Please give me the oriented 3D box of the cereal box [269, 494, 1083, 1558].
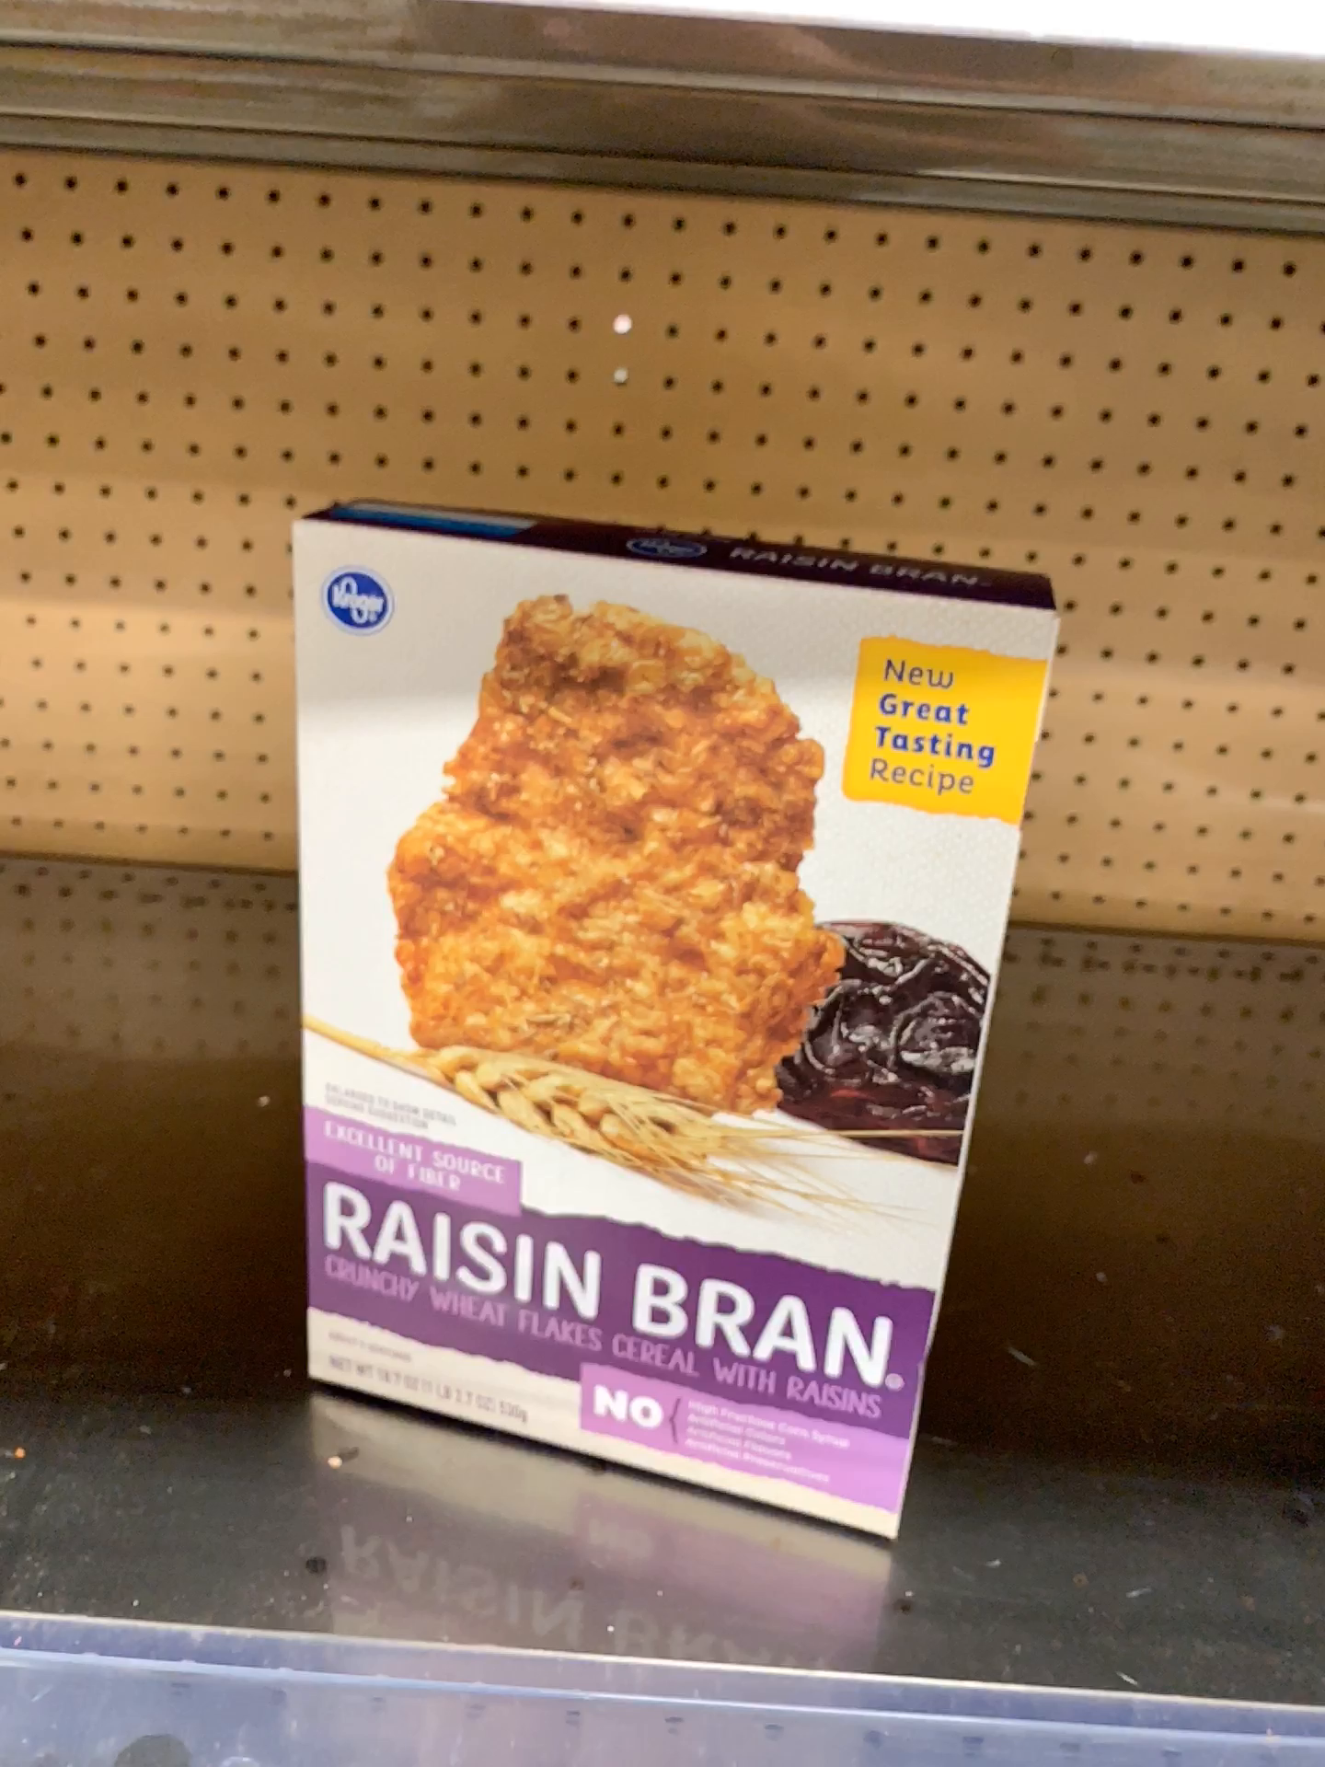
[{"bbox_3d":[-0.007,0.042,0.385,0.190,0.269,0.050,10,22,12],"label":"cereal box"}]
